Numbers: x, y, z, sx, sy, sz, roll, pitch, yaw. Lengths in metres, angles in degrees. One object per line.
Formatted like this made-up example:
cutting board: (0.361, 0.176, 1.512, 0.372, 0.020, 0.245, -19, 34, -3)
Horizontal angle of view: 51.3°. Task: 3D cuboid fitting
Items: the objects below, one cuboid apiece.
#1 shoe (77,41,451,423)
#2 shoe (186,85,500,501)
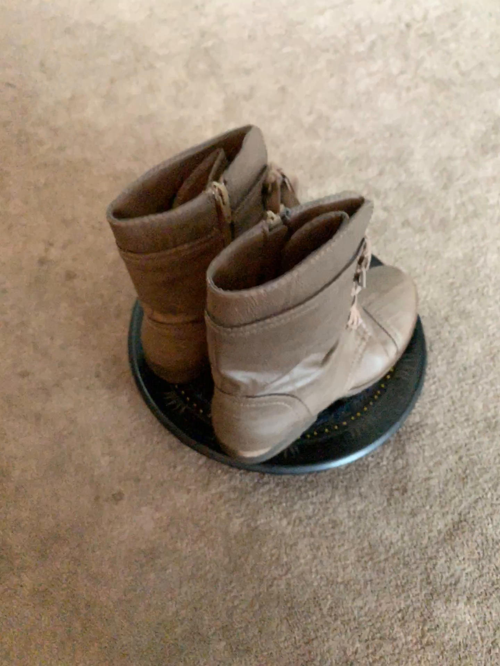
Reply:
shoe: (0.020, -0.084, 0.446, 0.271, 0.198, 0.100, -38, 66, -24)
shoe: (0.093, -0.028, 0.408, 0.271, 0.198, 0.100, -38, 66, -24)
